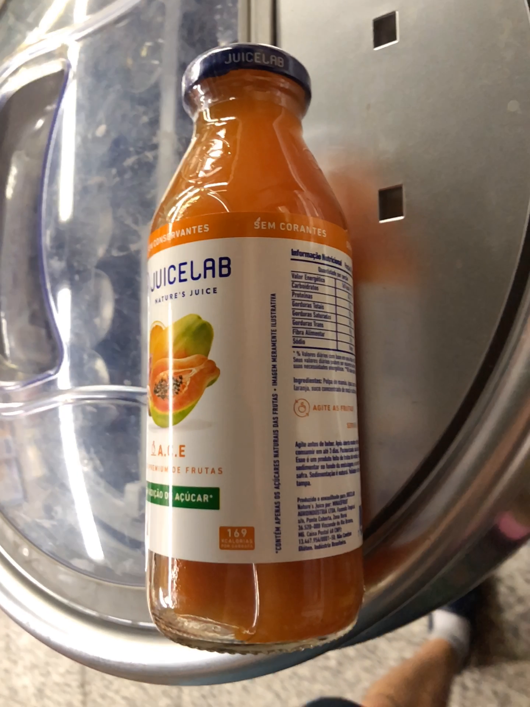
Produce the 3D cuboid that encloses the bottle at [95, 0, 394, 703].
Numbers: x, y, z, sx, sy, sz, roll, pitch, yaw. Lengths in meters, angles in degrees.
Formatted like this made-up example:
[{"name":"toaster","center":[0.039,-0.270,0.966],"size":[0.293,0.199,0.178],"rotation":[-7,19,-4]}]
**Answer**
[{"name":"bottle","center":[-0.008,-0.016,0.178],"size":[0.070,0.050,0.190],"rotation":[-5,84,41]}]
